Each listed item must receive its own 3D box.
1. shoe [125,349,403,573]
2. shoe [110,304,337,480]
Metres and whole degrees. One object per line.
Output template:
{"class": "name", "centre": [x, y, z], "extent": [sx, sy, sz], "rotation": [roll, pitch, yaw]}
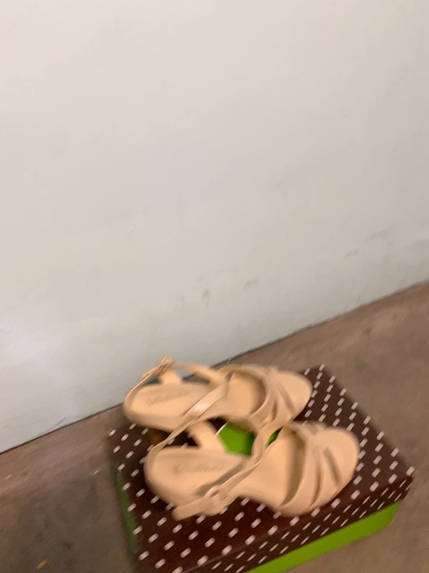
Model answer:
{"class": "shoe", "centre": [0.046, 0.164, 0.444], "extent": [0.240, 0.109, 0.101], "rotation": [-12, 34, -18]}
{"class": "shoe", "centre": [0.010, 0.117, 0.535], "extent": [0.240, 0.109, 0.101], "rotation": [-12, 34, -18]}
